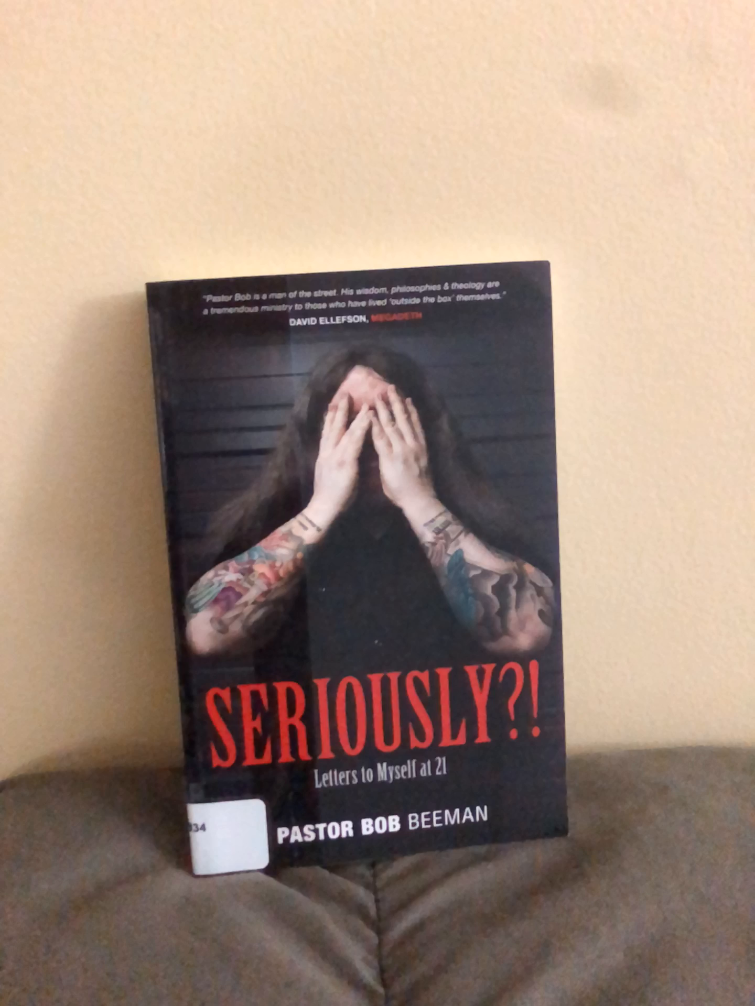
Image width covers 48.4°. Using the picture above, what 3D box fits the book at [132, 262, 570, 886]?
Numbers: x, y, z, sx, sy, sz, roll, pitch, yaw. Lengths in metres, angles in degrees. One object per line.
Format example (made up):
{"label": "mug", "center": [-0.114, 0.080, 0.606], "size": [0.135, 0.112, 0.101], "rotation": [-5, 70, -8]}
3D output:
{"label": "book", "center": [-0.005, 0.024, 0.297], "size": [0.136, 0.205, 0.023], "rotation": [-4, 6, -6]}
